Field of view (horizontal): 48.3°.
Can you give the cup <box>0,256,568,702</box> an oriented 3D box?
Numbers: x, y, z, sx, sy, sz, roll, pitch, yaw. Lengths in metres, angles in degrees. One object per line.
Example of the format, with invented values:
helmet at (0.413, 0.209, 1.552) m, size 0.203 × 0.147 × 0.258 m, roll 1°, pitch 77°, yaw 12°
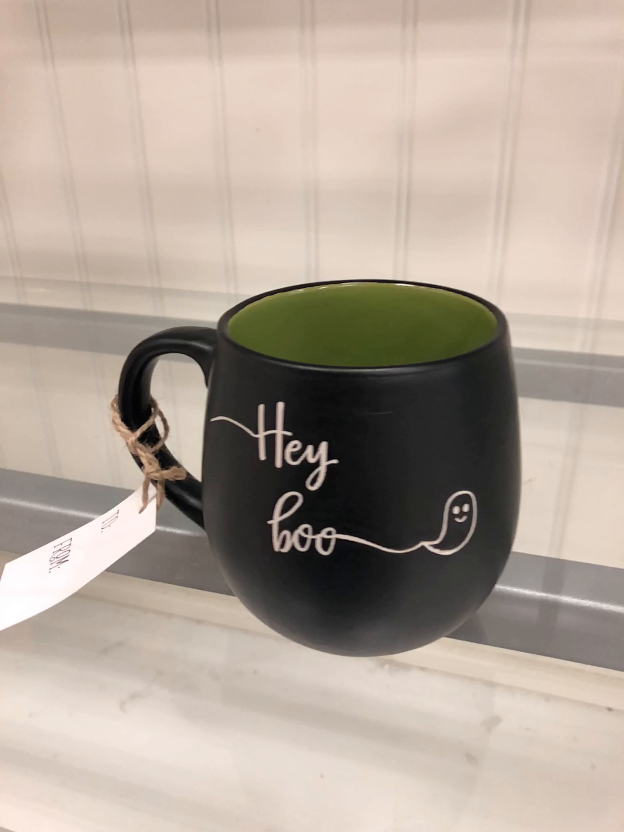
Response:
cup at (-0.003, 0.007, 0.226) m, size 0.149 × 0.089 × 0.091 m, roll 7°, pitch 27°, yaw 16°
